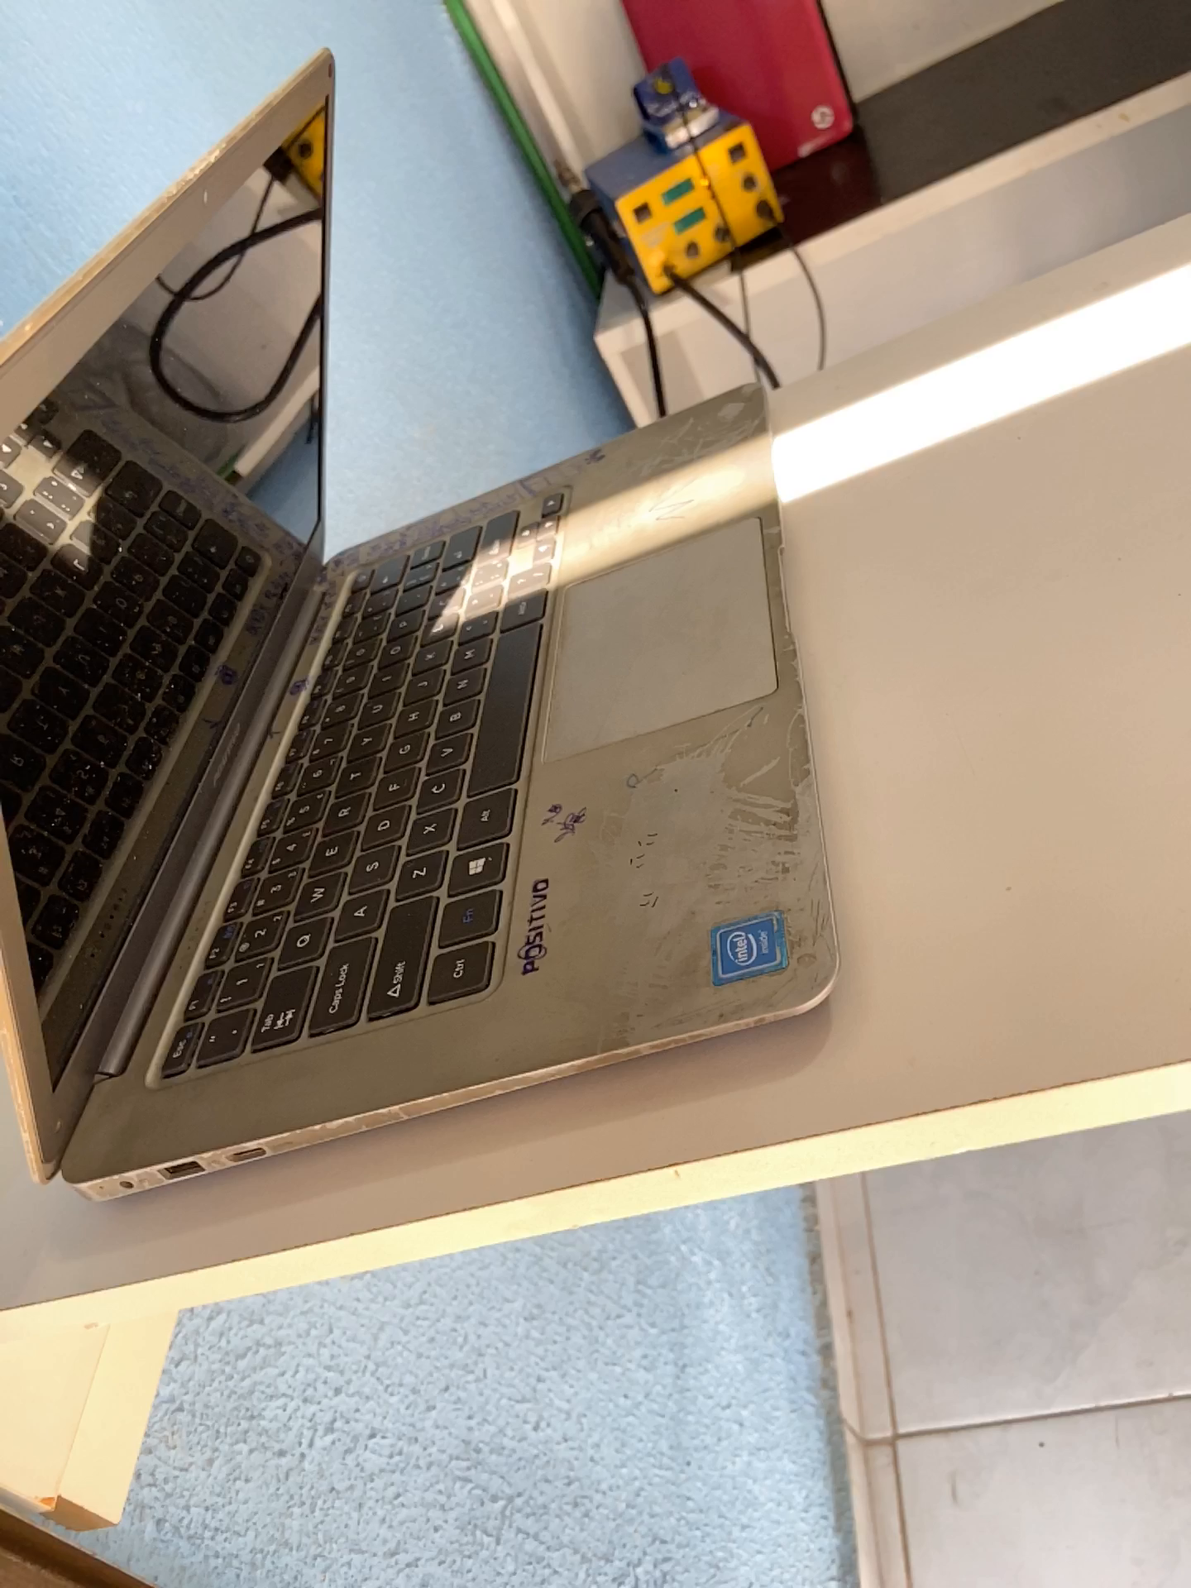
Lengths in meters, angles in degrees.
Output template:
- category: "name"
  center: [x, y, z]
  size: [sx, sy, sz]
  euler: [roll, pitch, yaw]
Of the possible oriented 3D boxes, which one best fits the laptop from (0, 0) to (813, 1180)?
- category: "laptop"
  center: [-0.078, -0.092, 0.374]
  size: [0.211, 0.167, 0.328]
  euler: [-18, 37, 19]
